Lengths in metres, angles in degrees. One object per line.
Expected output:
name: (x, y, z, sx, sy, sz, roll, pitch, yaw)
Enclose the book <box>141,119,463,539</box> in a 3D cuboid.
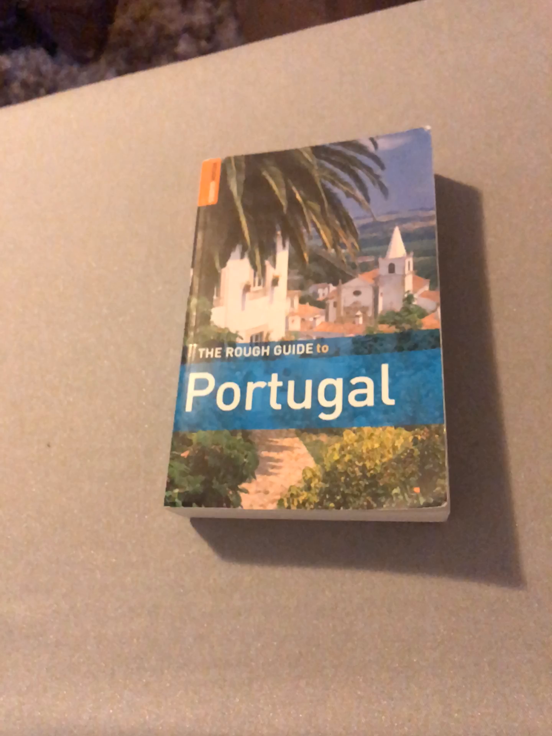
book: (0.017, -0.022, 0.316, 0.139, 0.040, 0.204, -3, 67, 15)
